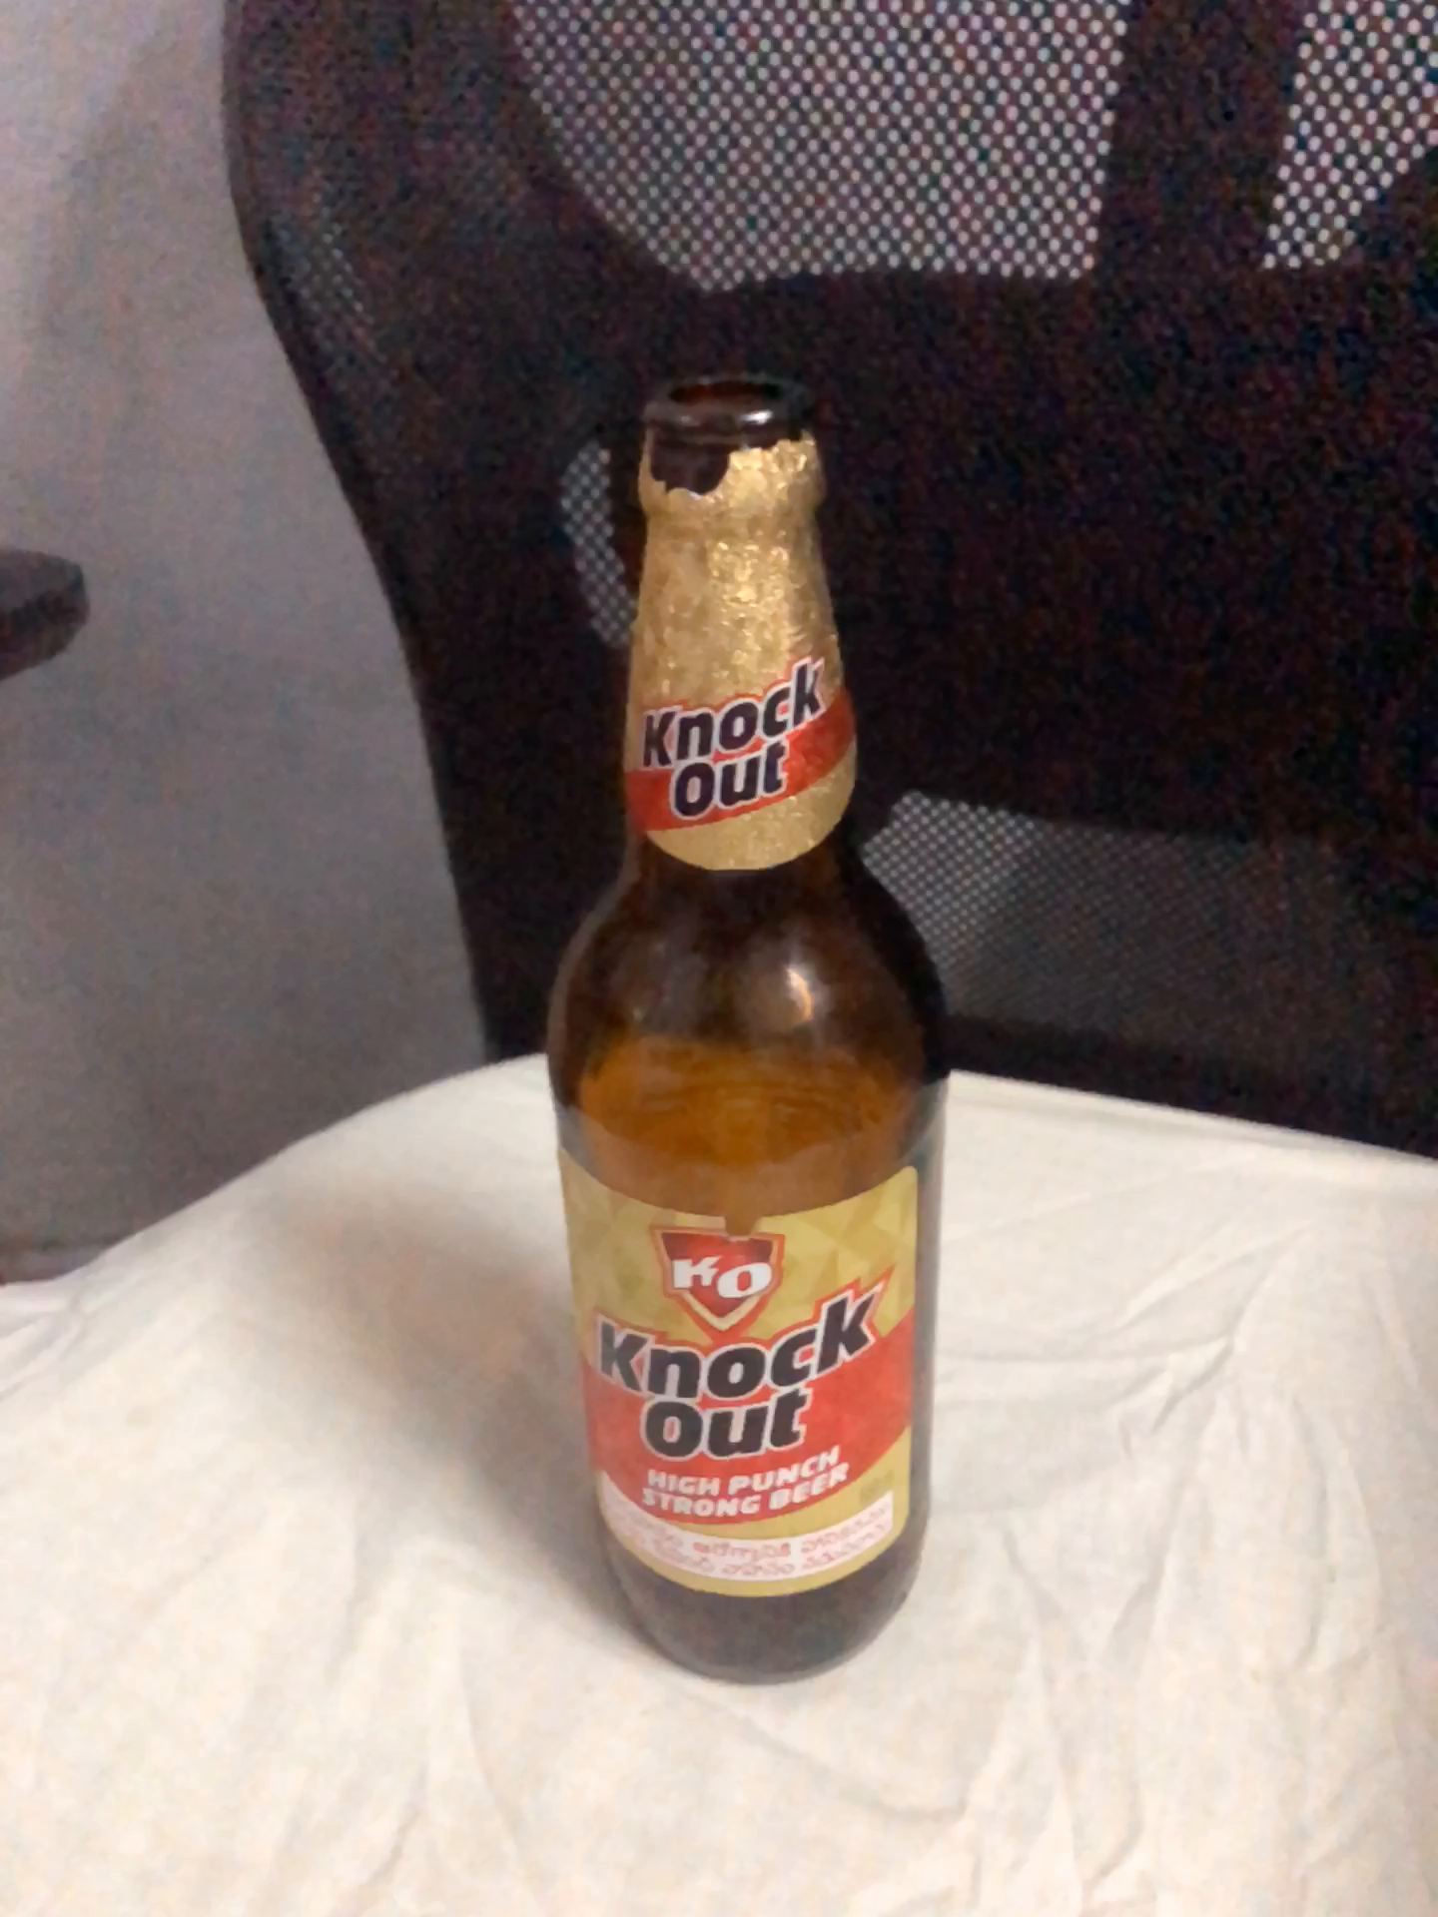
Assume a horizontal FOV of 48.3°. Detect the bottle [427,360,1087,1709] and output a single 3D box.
[{"bbox_3d":[0.008,0.029,0.292,0.080,0.249,0.070,2,34,4],"label":"bottle"}]
